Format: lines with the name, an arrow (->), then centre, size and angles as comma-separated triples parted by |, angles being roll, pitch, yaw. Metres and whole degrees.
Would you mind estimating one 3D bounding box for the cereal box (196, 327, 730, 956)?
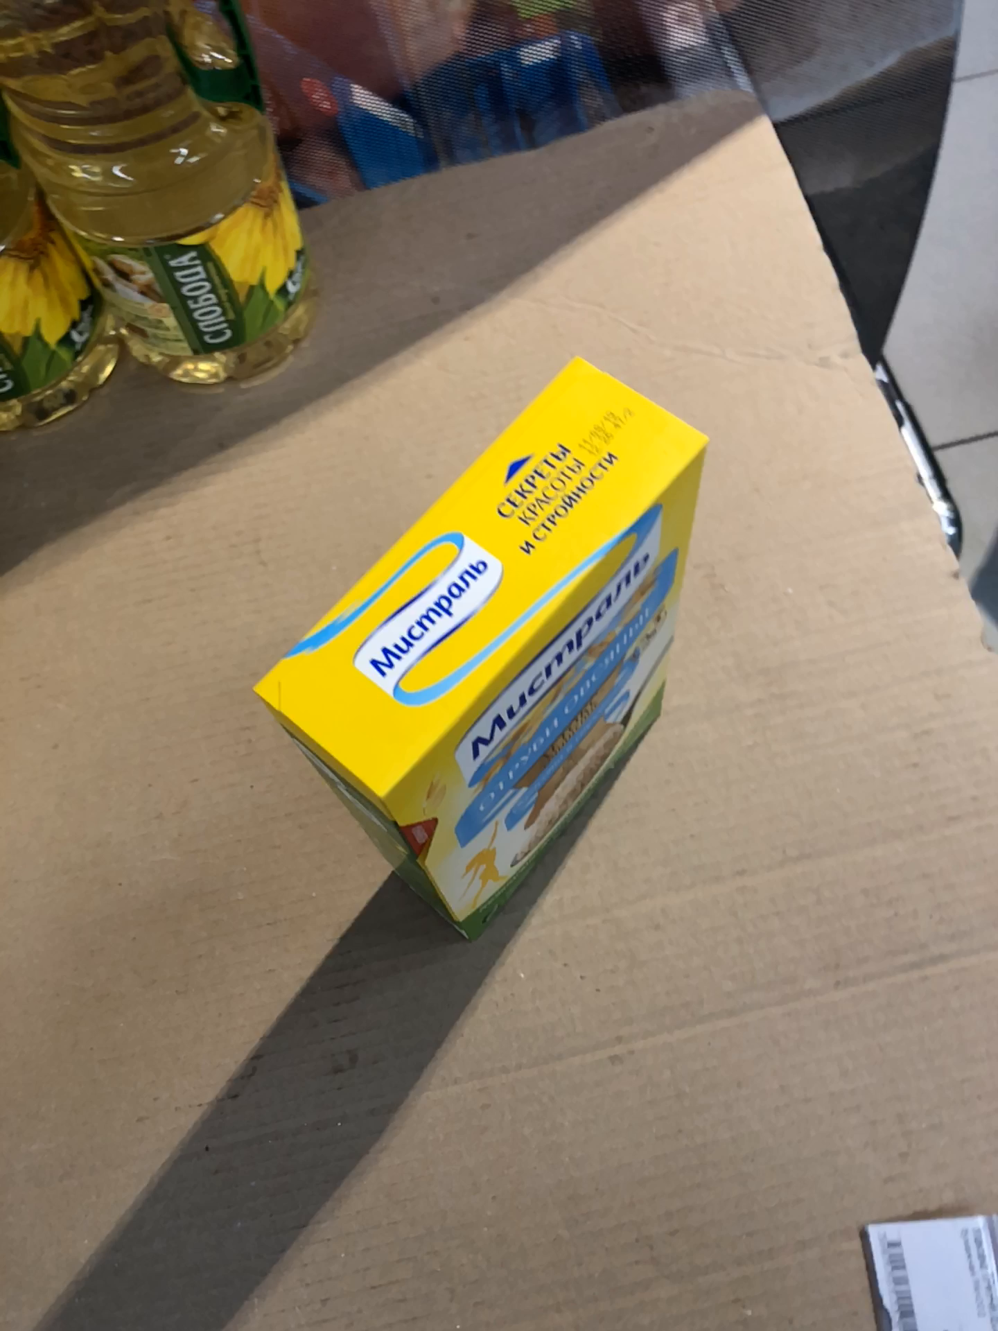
cereal box -> 0.003, 0.012, 0.381 | 0.050, 0.209, 0.150 | 39, 77, 18
